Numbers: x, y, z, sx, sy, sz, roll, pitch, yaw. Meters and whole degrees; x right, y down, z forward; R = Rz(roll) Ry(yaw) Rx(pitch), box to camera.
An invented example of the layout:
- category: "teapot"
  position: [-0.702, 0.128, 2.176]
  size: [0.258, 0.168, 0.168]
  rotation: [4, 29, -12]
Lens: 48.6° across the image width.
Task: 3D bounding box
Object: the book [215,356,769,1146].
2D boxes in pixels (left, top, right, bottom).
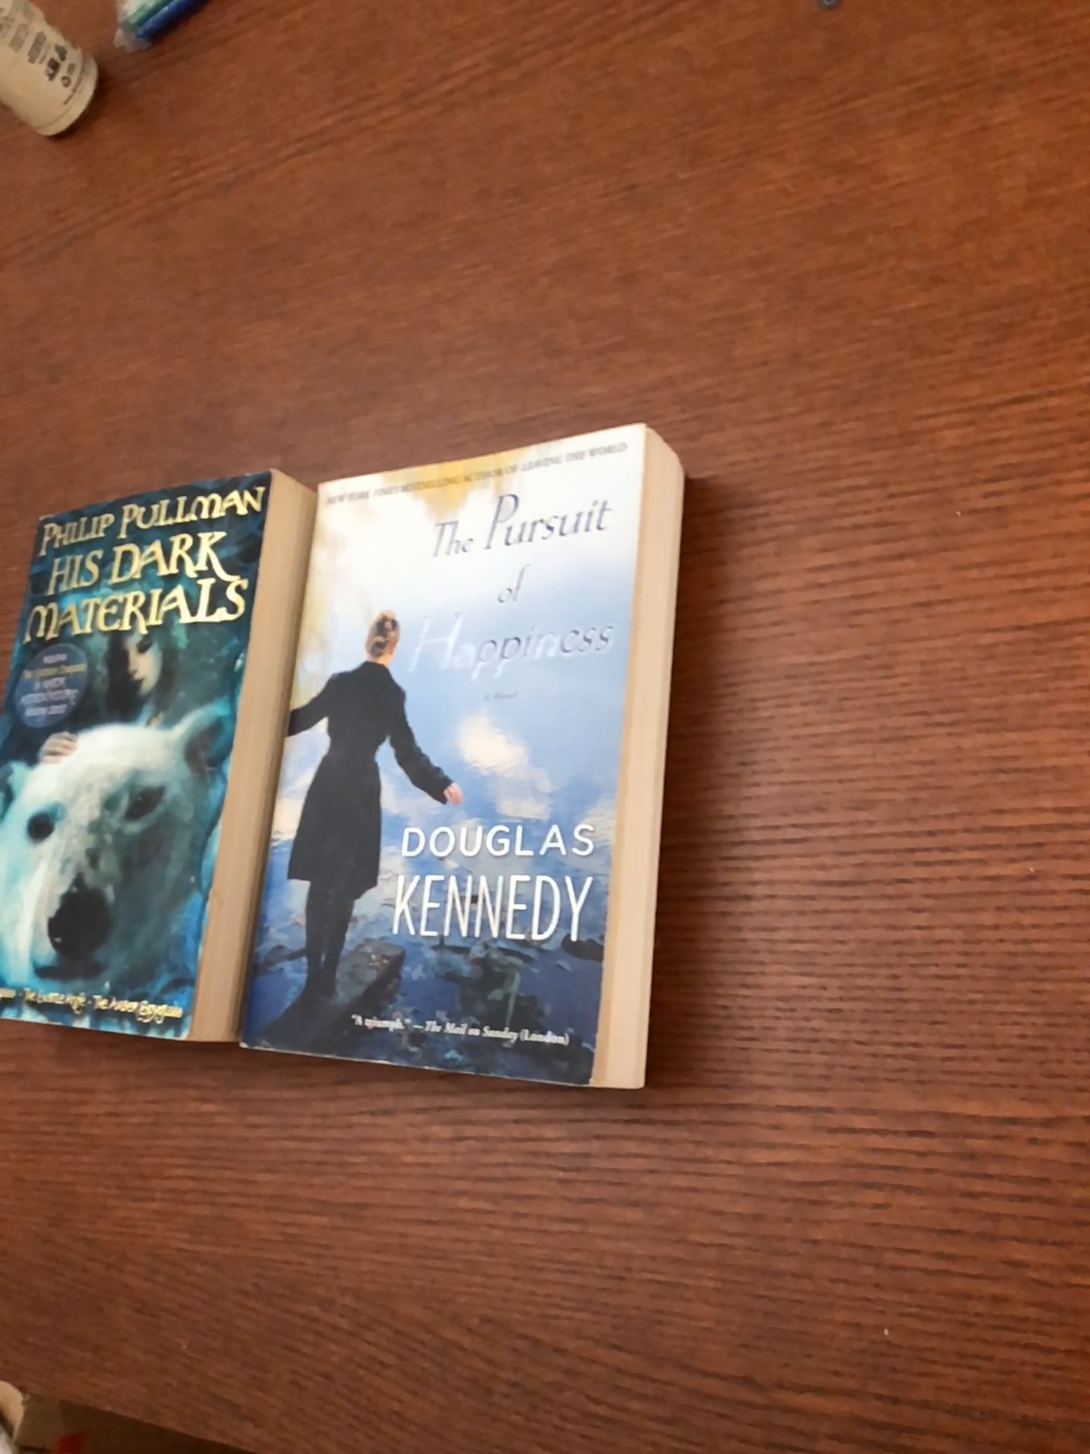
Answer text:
- category: "book"
  position: [-0.018, 0.006, 0.432]
  size: [0.180, 0.040, 0.250]
  rotation: [-3, 74, 29]

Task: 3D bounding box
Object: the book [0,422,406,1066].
- category: "book"
  position: [-0.163, 0.008, 0.522]
  size: [0.180, 0.050, 0.250]
  rotation: [-3, 74, 29]
